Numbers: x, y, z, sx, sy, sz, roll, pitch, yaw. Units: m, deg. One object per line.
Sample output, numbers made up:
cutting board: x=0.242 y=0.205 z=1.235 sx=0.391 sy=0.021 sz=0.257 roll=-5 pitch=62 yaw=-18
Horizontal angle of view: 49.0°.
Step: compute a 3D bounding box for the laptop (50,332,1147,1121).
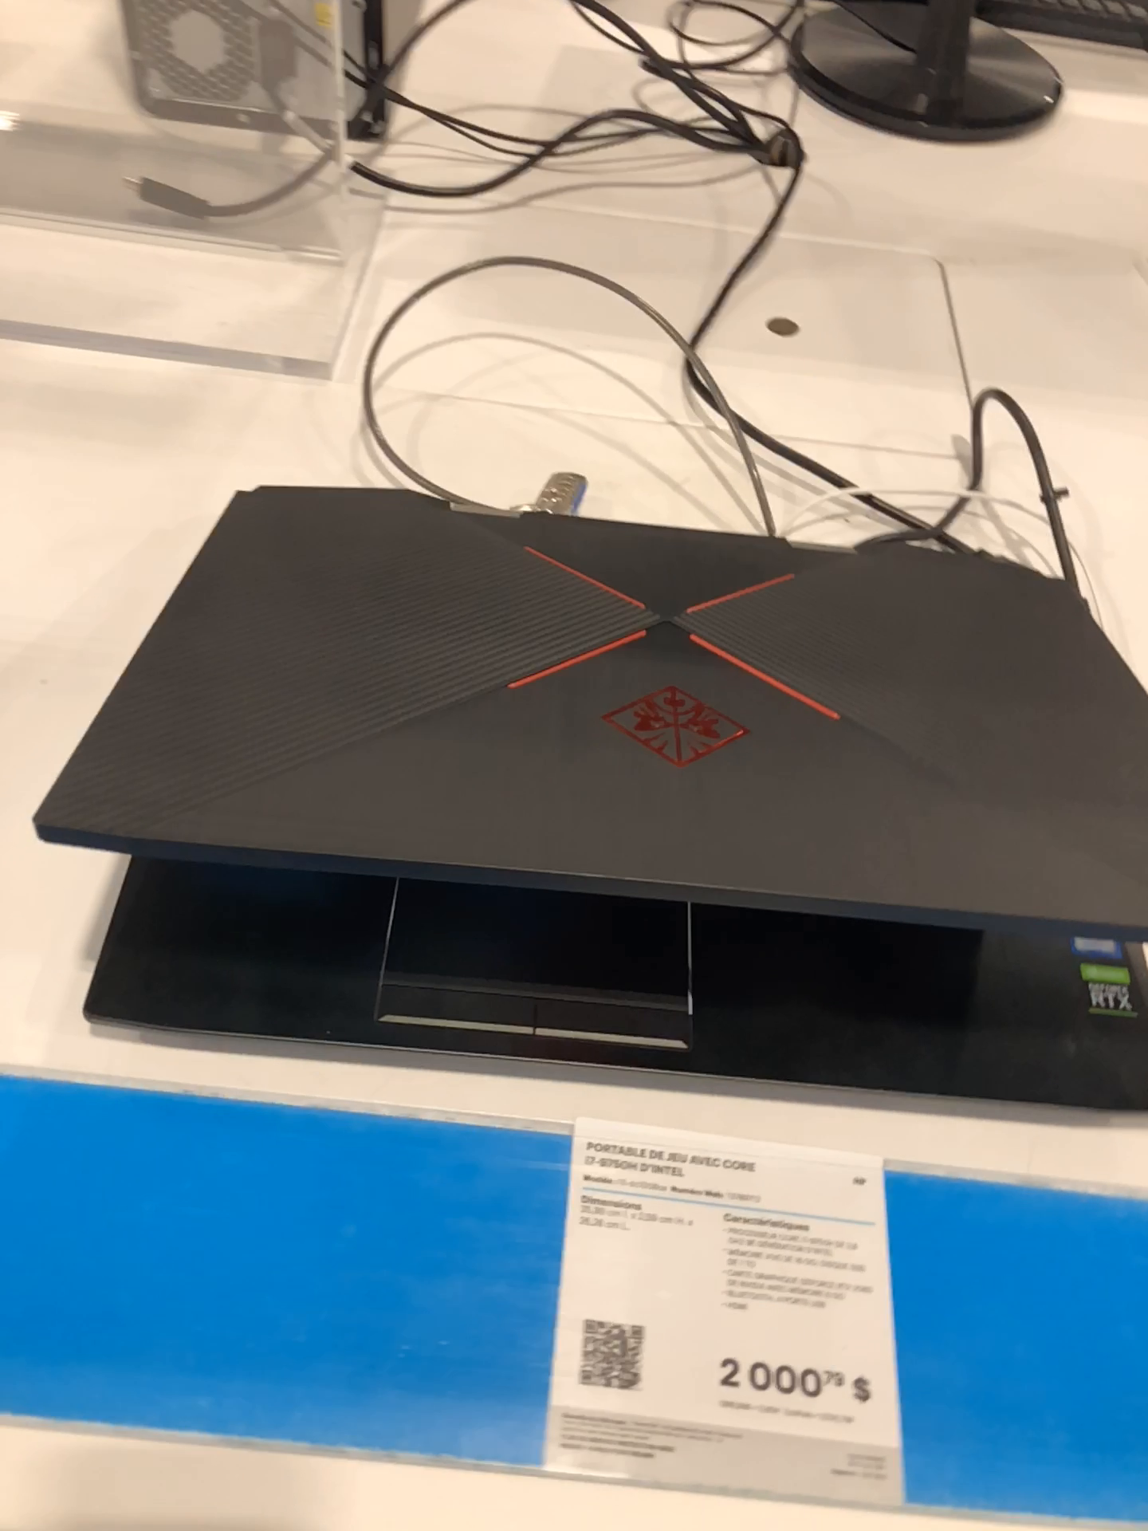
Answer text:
laptop: x=0.037 y=-0.024 z=0.438 sx=0.346 sy=0.085 sz=0.235 roll=6 pitch=52 yaw=-2
